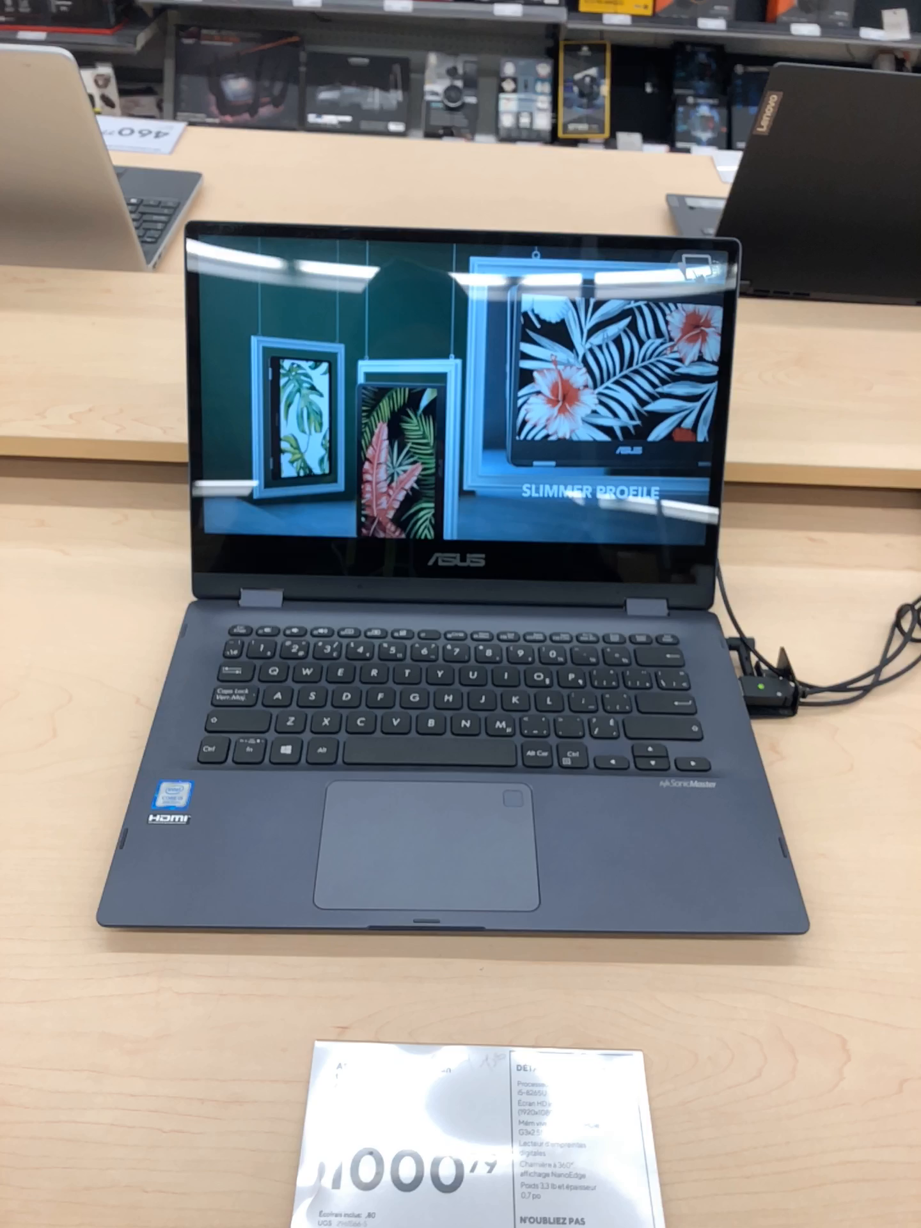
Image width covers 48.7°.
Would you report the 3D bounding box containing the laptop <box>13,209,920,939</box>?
[{"bbox_3d":[0.000,-0.040,0.529,0.319,0.184,0.332,2,43,-2],"label":"laptop"}]
